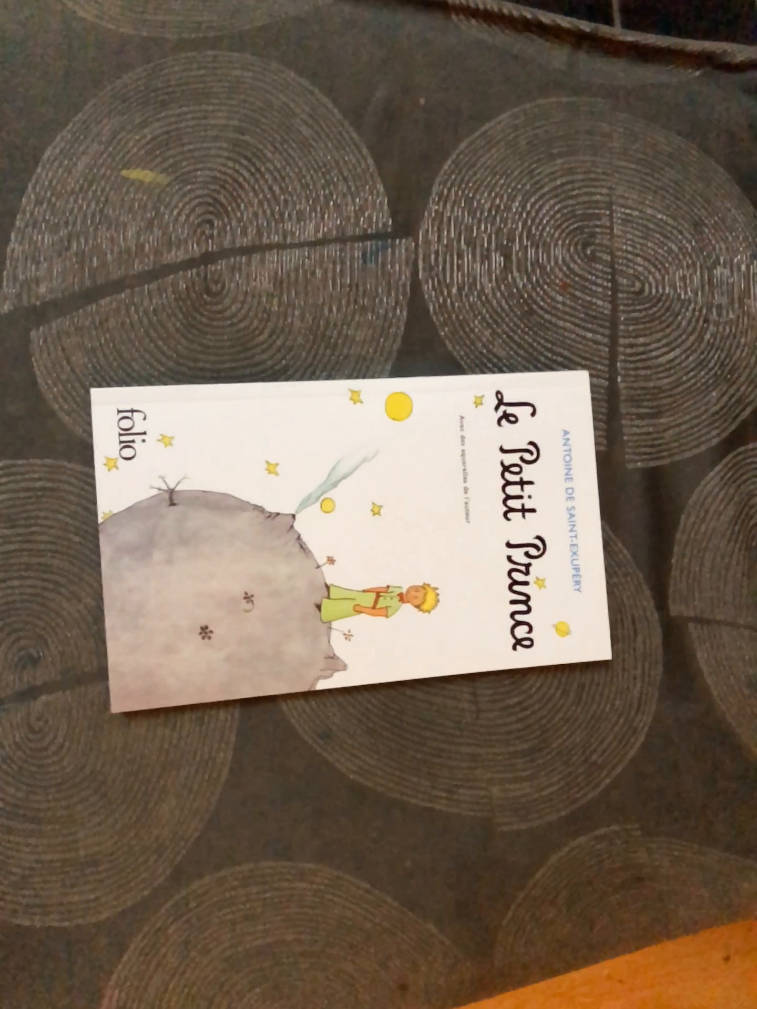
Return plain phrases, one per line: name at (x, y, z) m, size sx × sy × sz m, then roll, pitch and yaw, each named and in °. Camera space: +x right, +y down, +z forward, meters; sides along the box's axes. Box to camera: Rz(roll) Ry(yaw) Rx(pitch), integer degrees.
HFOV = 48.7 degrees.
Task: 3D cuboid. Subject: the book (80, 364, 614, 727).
book at (-0.009, 0.011, 0.289) m, size 0.170 × 0.030 × 0.110 m, roll -3°, pitch 91°, yaw -6°
